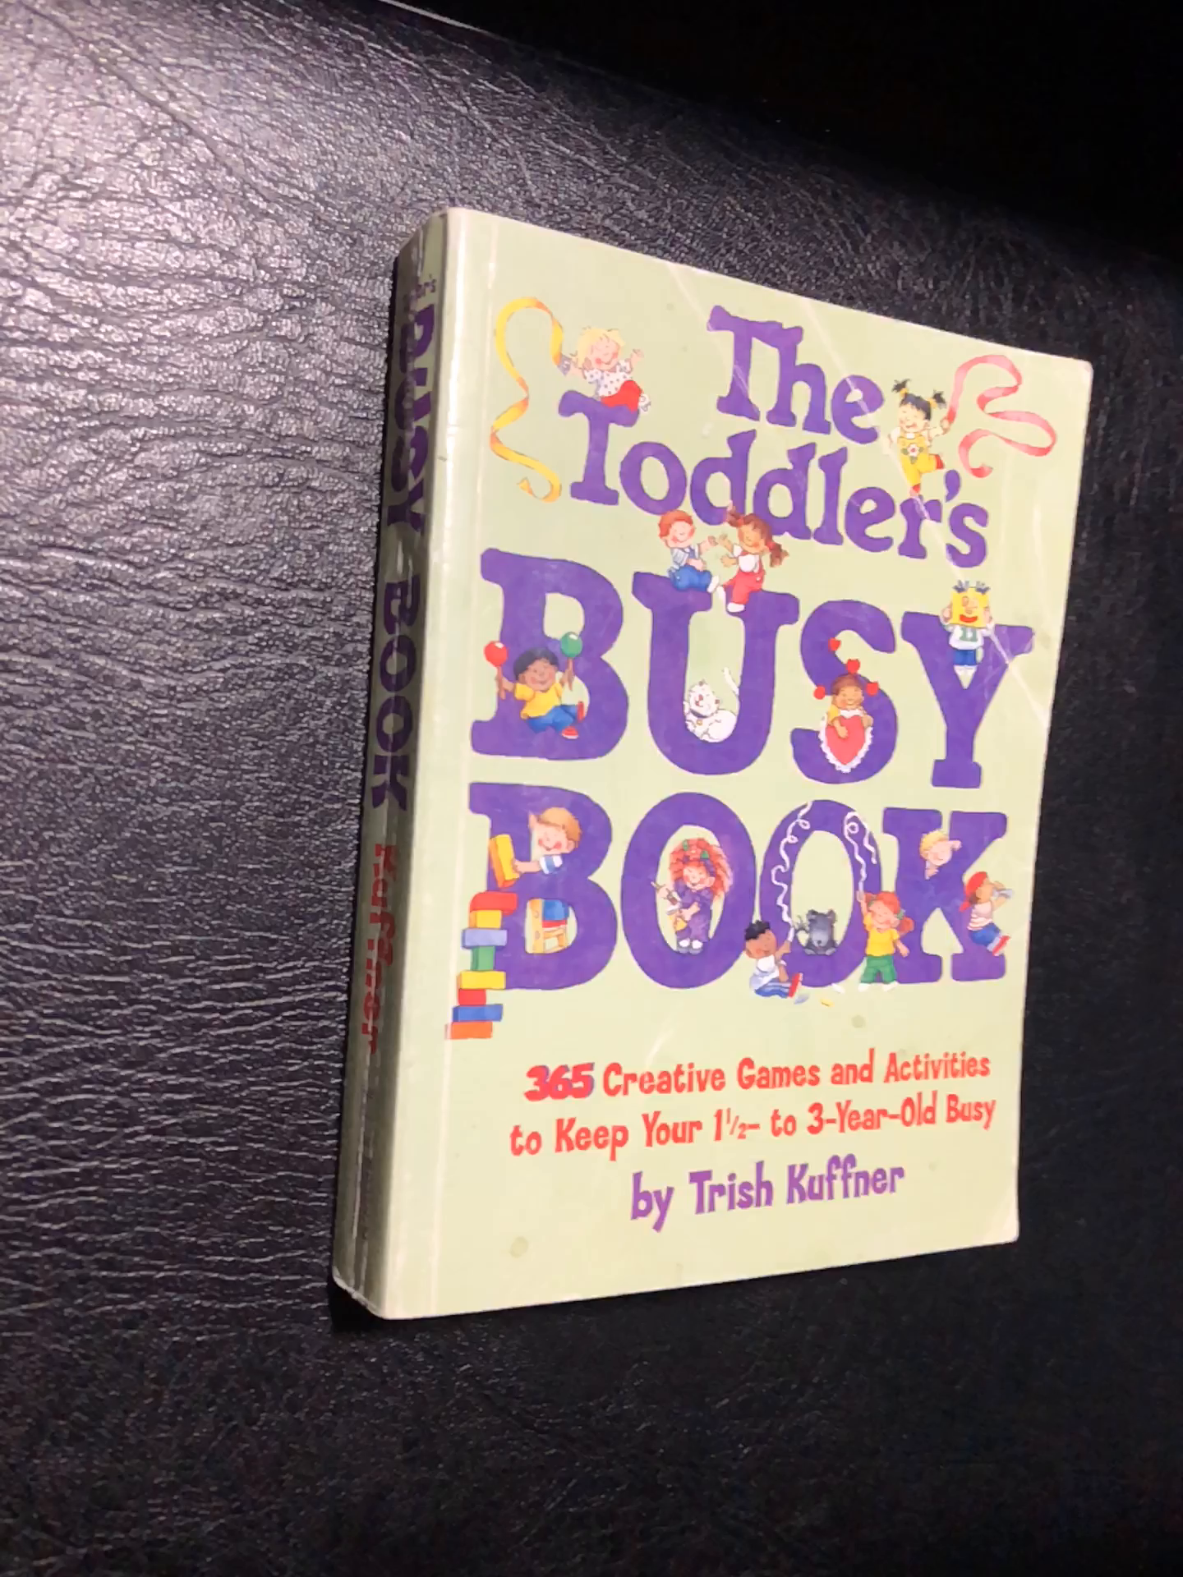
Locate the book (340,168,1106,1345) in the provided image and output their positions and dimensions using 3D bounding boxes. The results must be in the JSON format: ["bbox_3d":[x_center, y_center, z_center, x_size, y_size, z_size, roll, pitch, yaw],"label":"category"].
[{"bbox_3d":[0.029,-0.002,0.241,0.136,0.033,0.176,3,89,-27],"label":"book"}]
